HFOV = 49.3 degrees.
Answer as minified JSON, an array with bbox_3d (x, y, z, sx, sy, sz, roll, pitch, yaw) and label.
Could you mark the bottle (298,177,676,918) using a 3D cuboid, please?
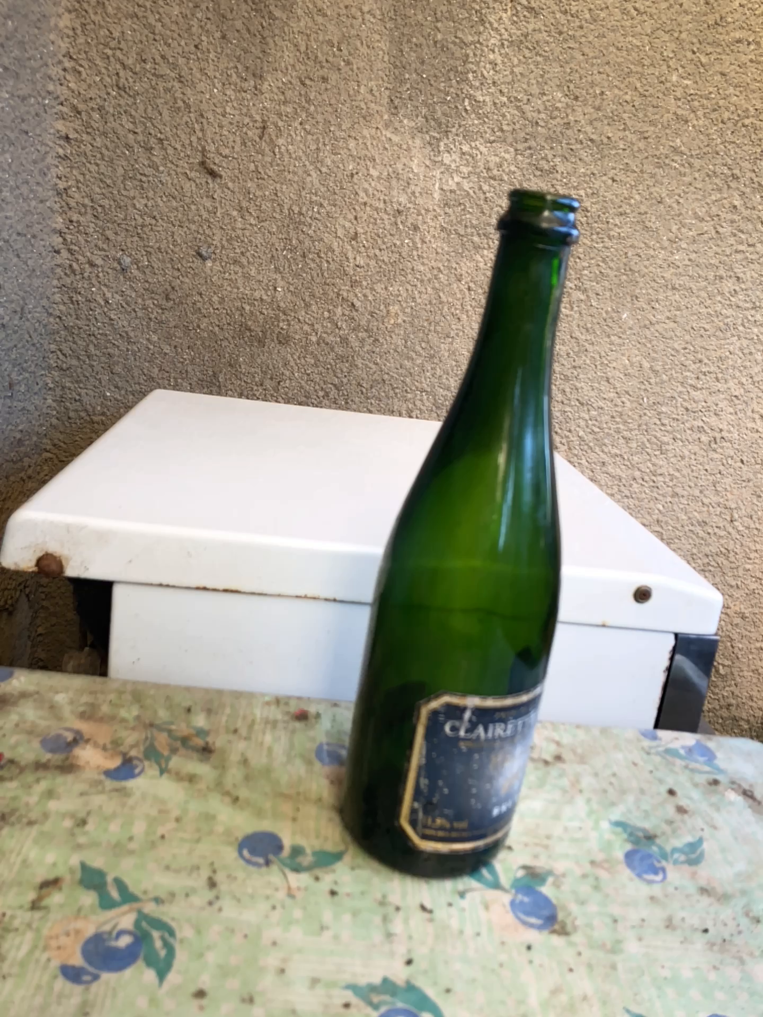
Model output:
[{"bbox_3d":[0.040,0.019,0.386,0.090,0.309,0.080,-6,22,-43],"label":"bottle"}]
